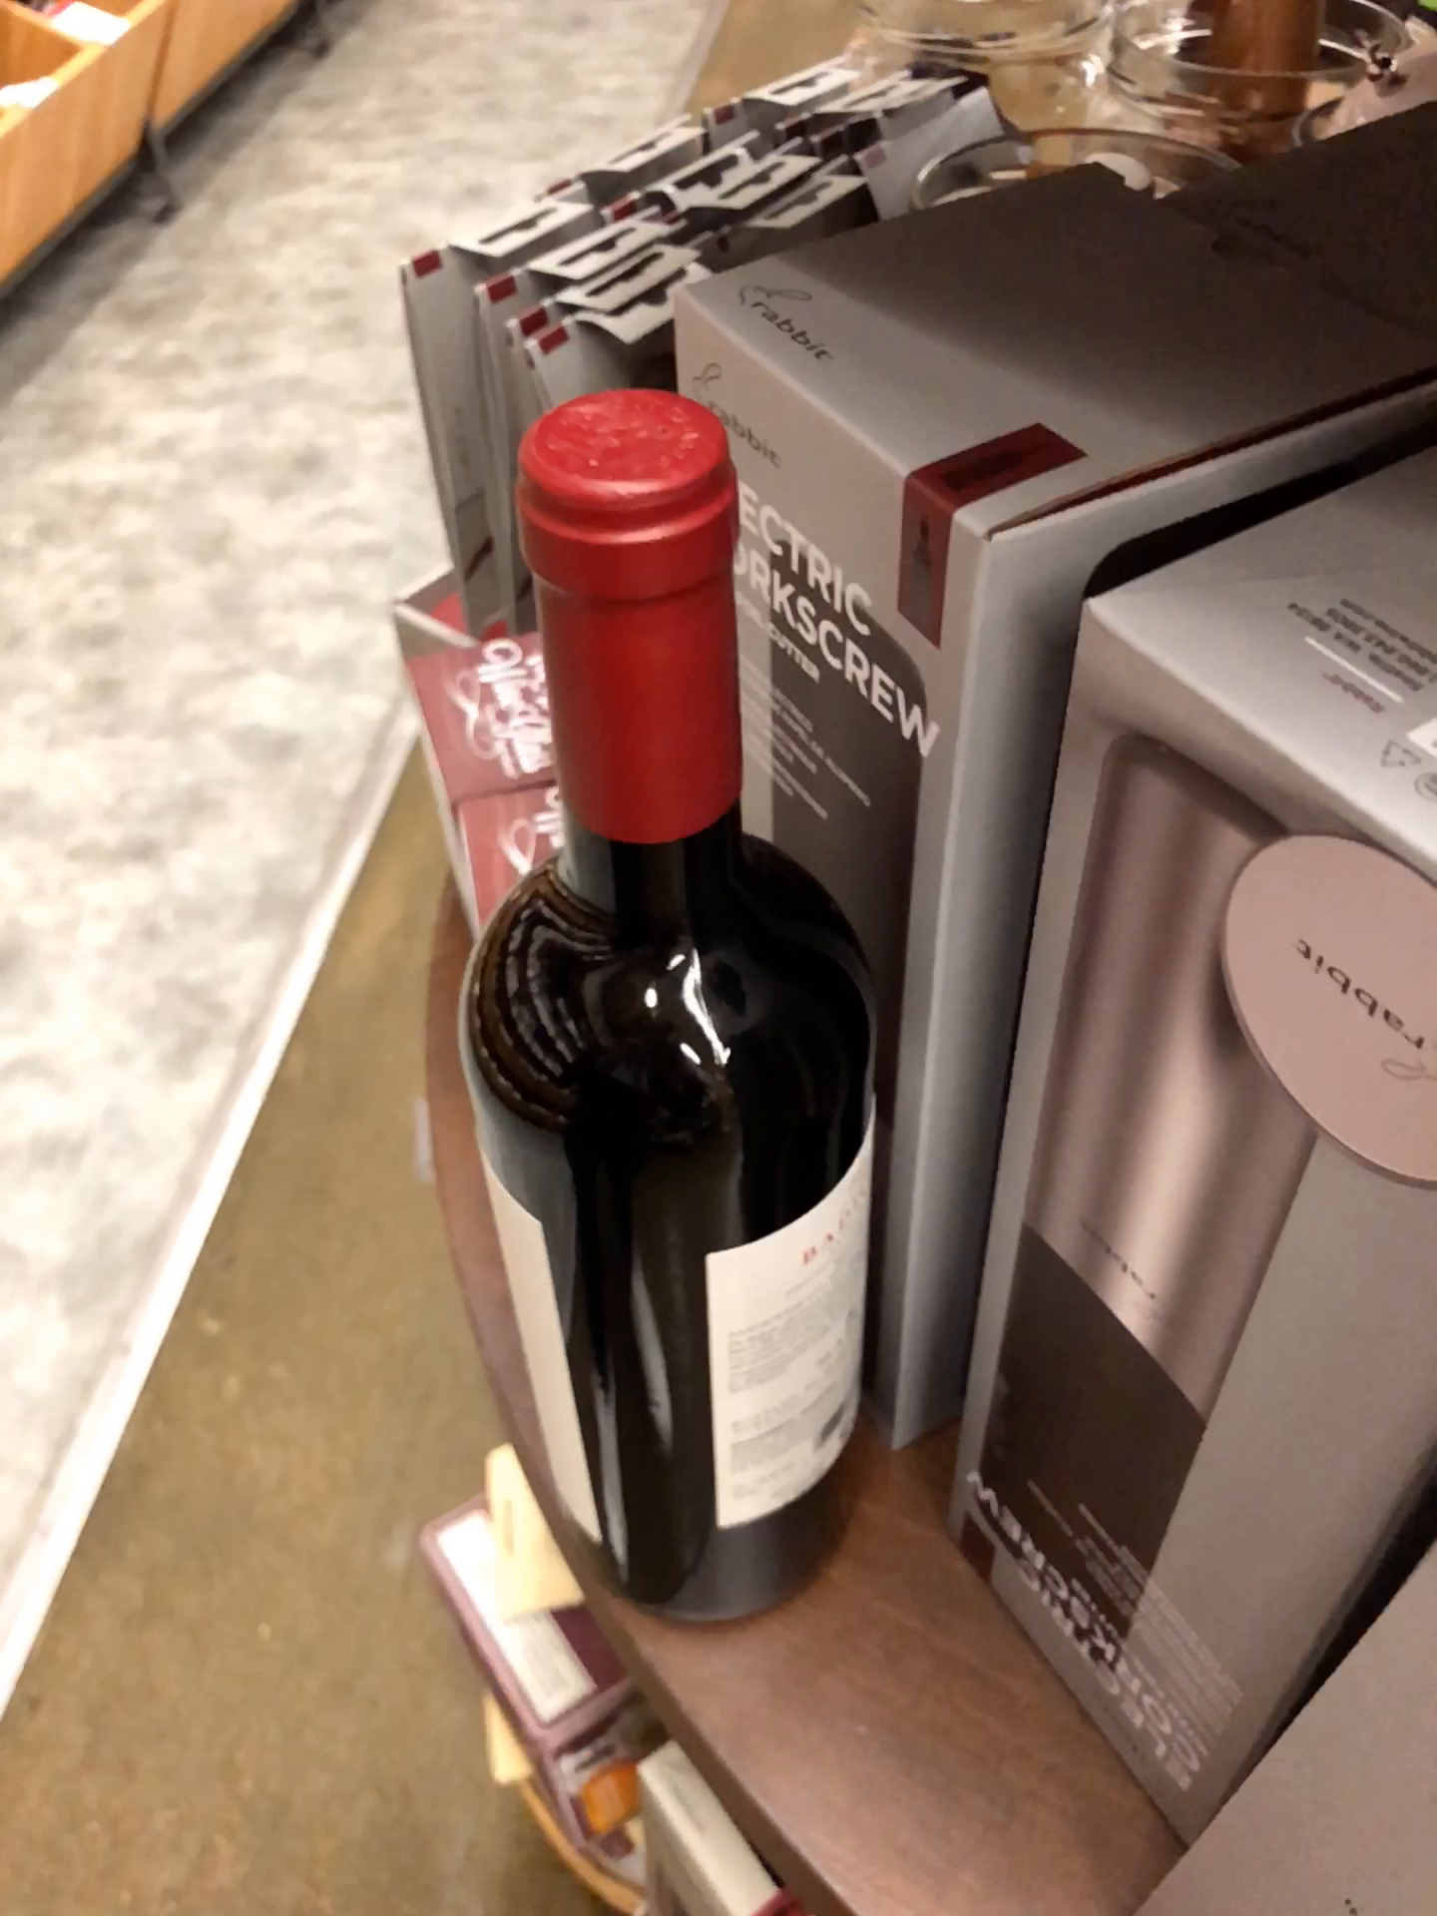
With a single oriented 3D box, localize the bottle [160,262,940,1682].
[{"bbox_3d":[-0.011,0.031,0.305,0.072,0.285,0.076,-2,45,2],"label":"bottle"}]
